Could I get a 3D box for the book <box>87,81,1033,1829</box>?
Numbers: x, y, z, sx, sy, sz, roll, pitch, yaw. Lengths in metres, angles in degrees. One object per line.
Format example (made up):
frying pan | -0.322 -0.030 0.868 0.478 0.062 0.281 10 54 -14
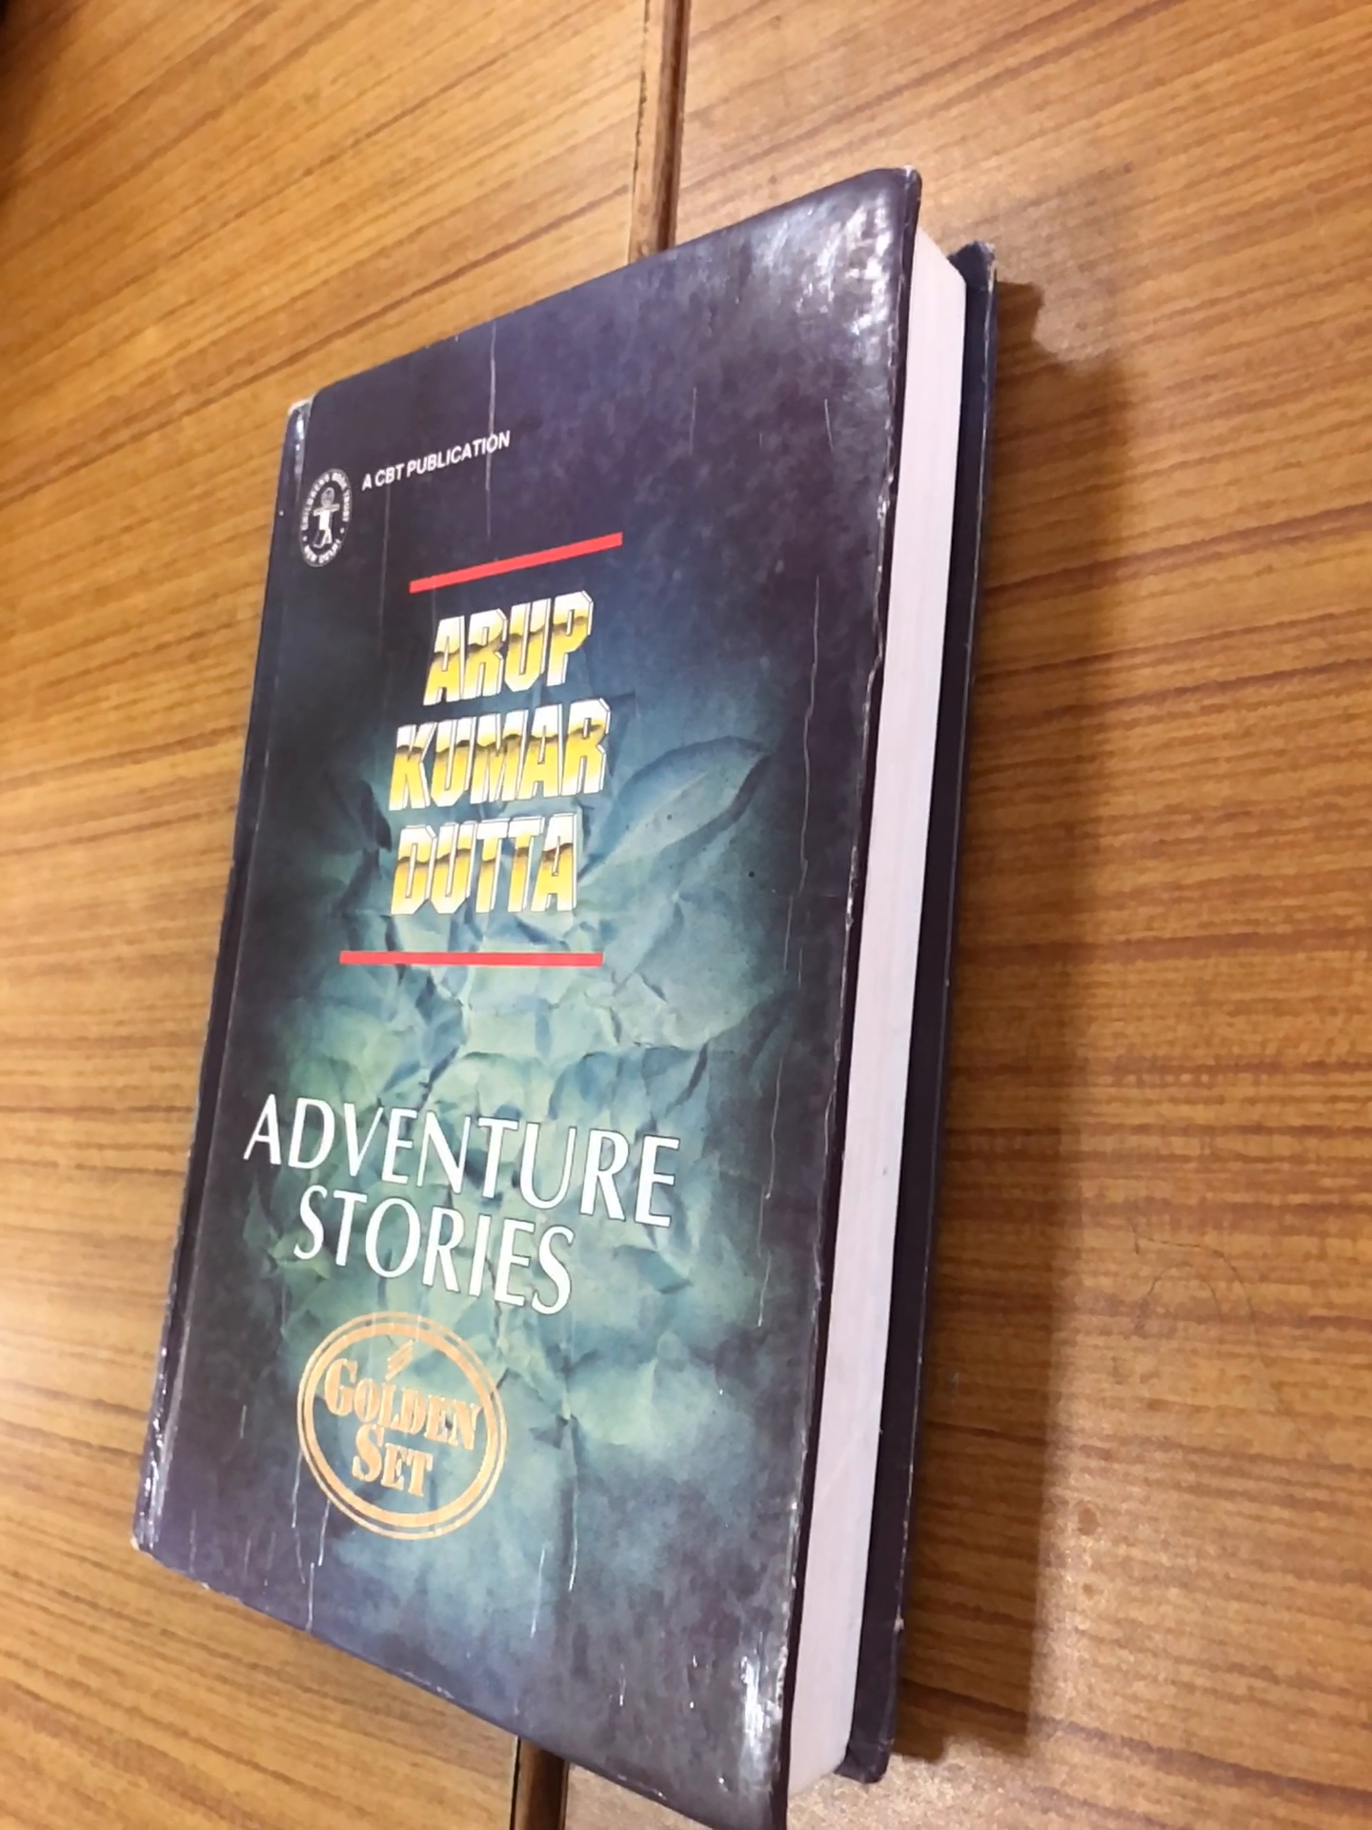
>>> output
book | -0.025 0.007 0.241 0.146 0.036 0.218 -2 81 39
